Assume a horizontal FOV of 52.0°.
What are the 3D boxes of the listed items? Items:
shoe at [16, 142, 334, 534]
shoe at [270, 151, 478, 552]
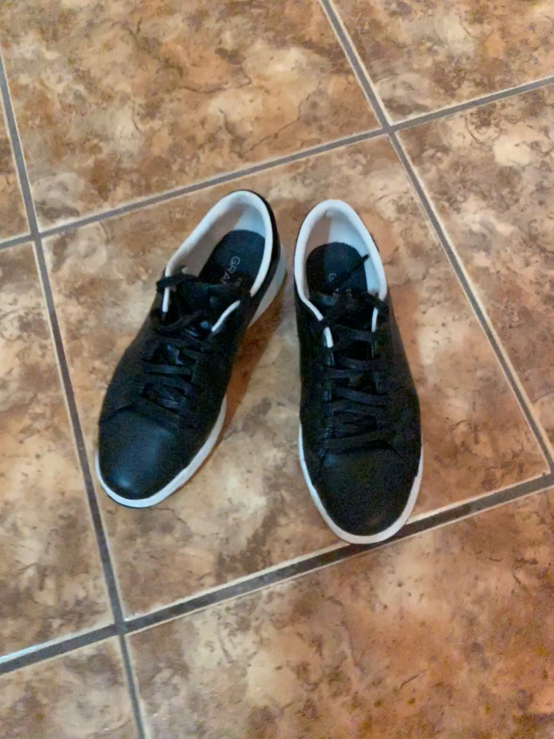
[{"bbox_3d":[-0.056,-0.024,0.410,0.087,0.093,0.255,25,72,11],"label":"shoe"},{"bbox_3d":[0.054,-0.012,0.401,0.090,0.103,0.255,-6,69,0],"label":"shoe"}]
